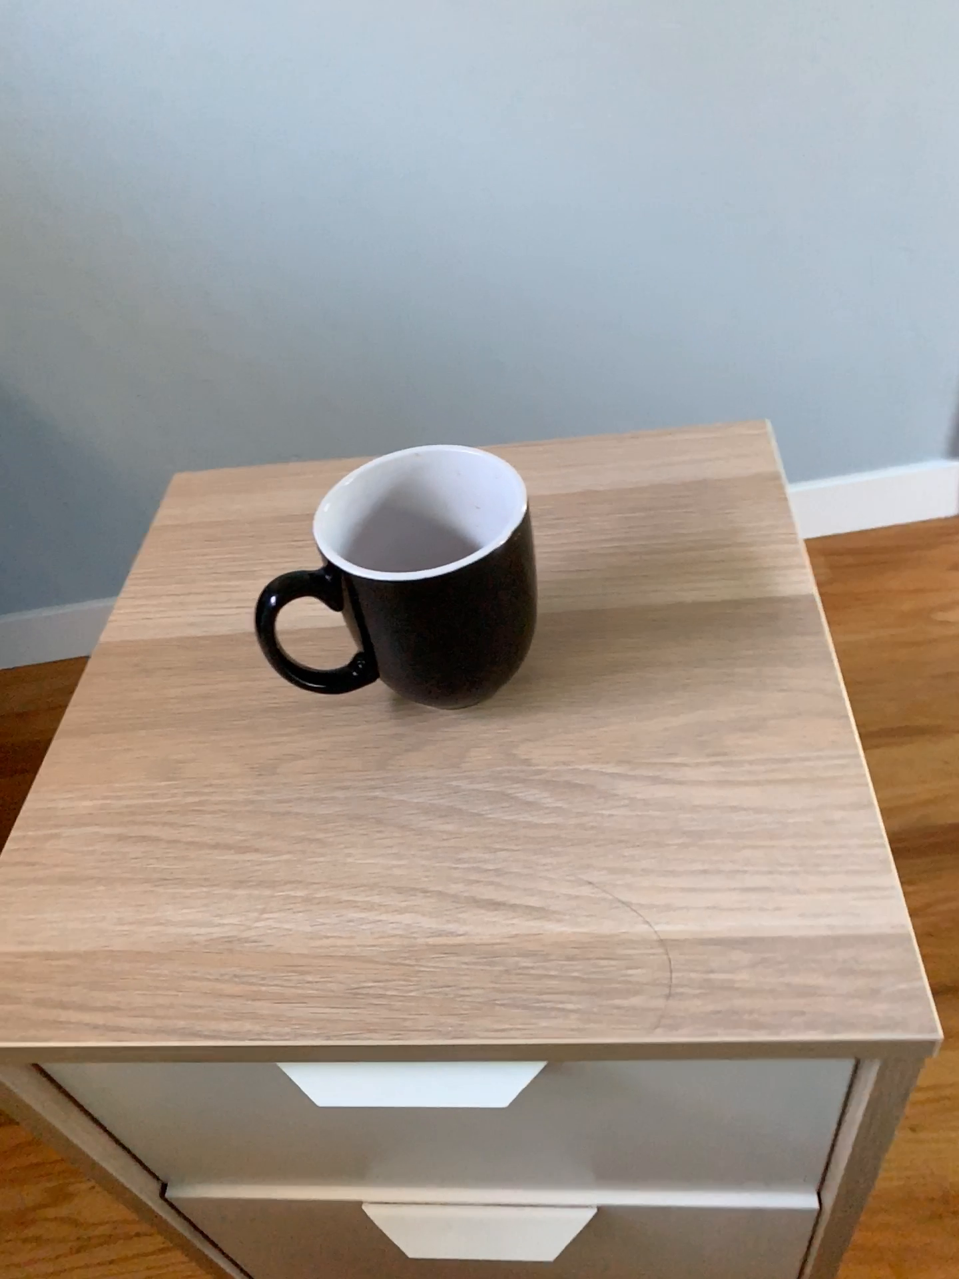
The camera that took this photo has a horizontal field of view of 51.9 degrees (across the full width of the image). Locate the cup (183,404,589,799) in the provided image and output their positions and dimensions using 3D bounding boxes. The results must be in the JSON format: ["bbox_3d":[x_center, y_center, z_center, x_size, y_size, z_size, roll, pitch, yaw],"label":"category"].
[{"bbox_3d":[-0.041,-0.022,0.473,0.150,0.100,0.101,-26,46,-14],"label":"cup"}]

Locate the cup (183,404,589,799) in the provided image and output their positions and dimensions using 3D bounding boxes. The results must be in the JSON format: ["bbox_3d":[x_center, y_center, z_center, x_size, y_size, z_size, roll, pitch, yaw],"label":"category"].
[{"bbox_3d":[-0.041,-0.022,0.473,0.150,0.100,0.101,-26,46,-14],"label":"cup"}]
